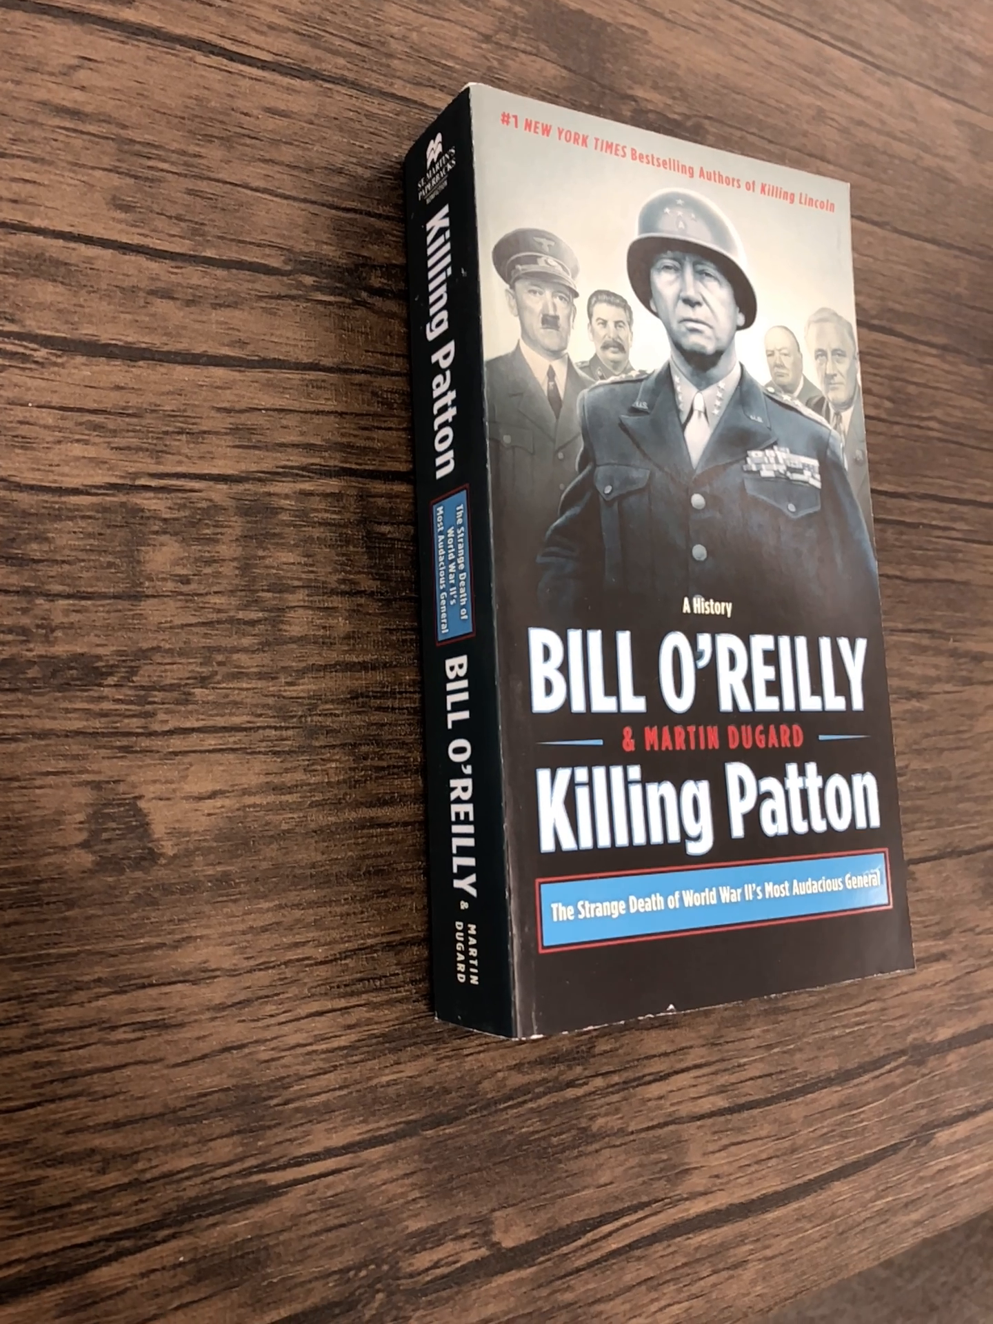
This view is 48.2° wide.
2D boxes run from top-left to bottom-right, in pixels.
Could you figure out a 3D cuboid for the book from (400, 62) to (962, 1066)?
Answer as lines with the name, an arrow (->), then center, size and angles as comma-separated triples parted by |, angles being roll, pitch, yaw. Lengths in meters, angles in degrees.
book -> 0.038, -0.019, 0.238 | 0.106, 0.040, 0.182 | 1, 83, -26
